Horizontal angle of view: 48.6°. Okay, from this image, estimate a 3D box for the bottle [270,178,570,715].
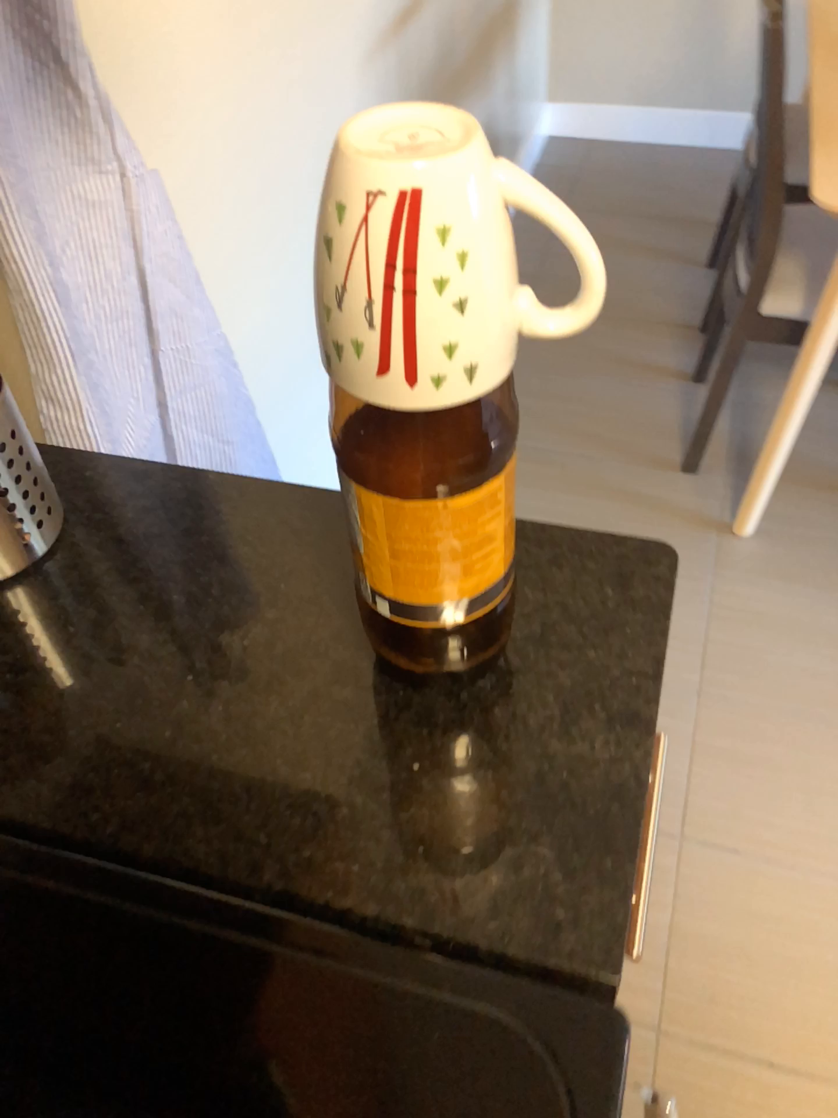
[{"bbox_3d":[0.008,-0.051,0.534,0.100,0.279,0.100,-2,45,2],"label":"bottle"}]
